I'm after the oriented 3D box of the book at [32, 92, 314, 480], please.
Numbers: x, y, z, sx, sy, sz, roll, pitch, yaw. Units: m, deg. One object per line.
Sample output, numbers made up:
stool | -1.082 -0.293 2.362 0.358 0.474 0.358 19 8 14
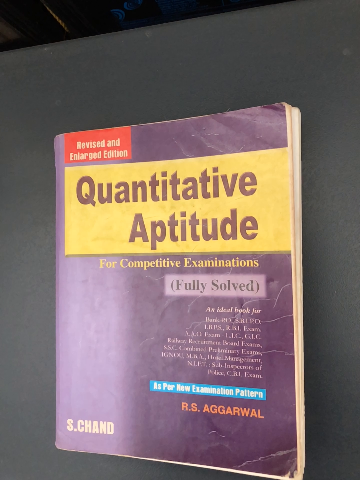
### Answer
book | -0.007 0.027 0.274 0.180 0.050 0.220 -1 87 15
